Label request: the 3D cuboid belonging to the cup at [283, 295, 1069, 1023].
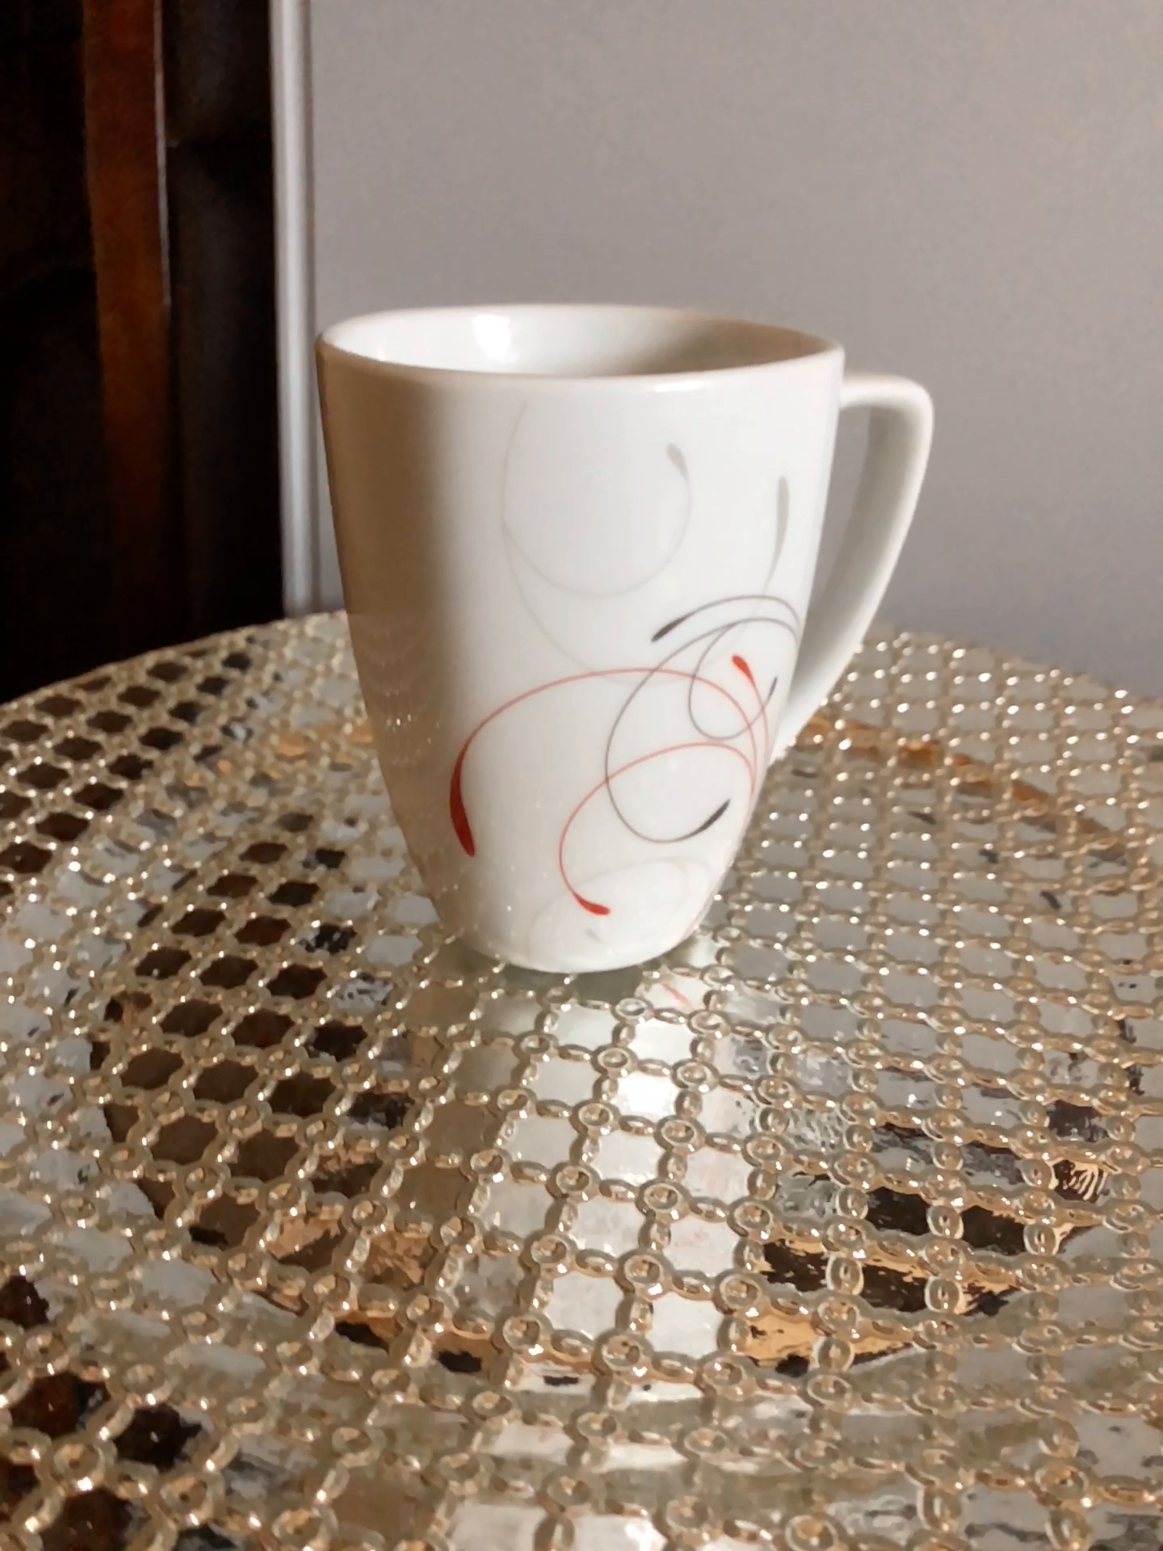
[{"bbox_3d":[0.015,-0.032,0.248,0.110,0.100,0.080,-15,30,-31],"label":"cup"}]
